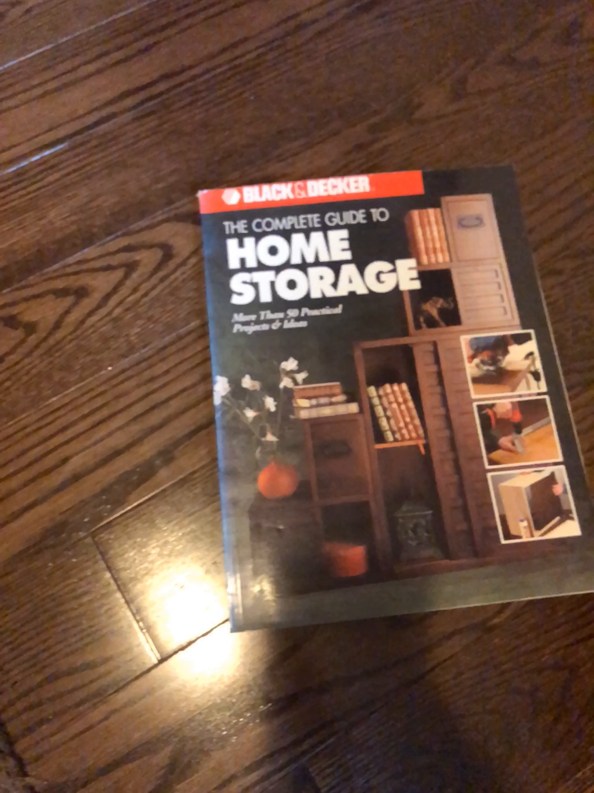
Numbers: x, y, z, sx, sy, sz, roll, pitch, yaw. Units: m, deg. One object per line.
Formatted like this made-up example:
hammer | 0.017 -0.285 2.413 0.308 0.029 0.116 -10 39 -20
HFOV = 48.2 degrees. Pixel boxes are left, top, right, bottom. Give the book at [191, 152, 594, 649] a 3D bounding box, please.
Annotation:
book | 0.054 -0.013 0.402 0.215 0.020 0.287 -6 73 -3
